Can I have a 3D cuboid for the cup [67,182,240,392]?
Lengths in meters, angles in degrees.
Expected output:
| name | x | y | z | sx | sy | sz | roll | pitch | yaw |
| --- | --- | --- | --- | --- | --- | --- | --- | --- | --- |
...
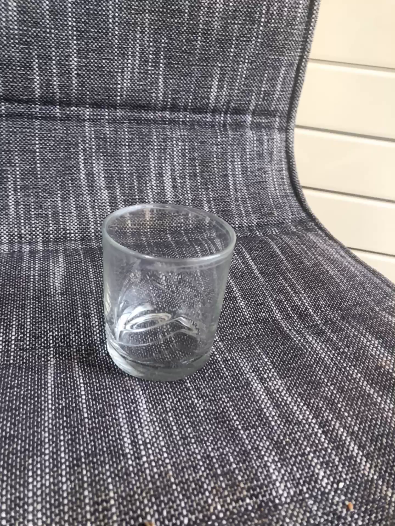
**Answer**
| name | x | y | z | sx | sy | sz | roll | pitch | yaw |
| --- | --- | --- | --- | --- | --- | --- | --- | --- | --- |
| cup | -0.022 | 0.010 | 0.245 | 0.070 | 0.080 | 0.070 | 5 | 30 | -3 |
